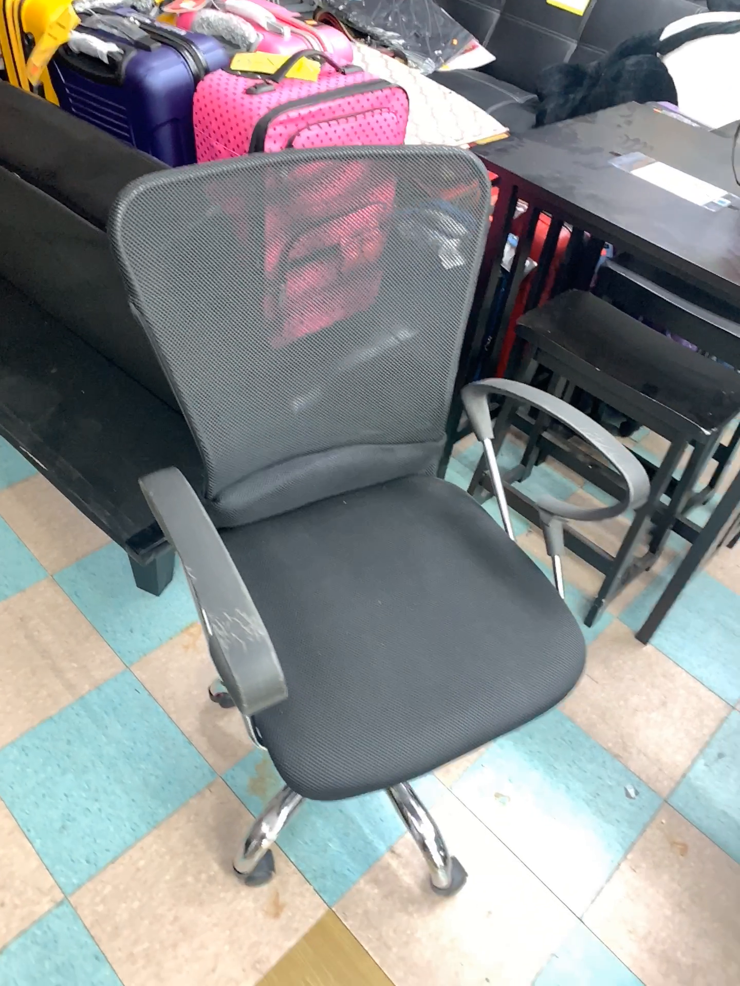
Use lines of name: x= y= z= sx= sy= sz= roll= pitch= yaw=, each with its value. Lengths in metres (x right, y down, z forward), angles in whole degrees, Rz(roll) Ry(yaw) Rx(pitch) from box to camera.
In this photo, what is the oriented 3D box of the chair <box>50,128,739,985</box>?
chair: x=0.035 y=0.151 z=1.065 sx=0.621 sy=1.020 sz=0.602 roll=-18 pitch=52 yaw=-25
